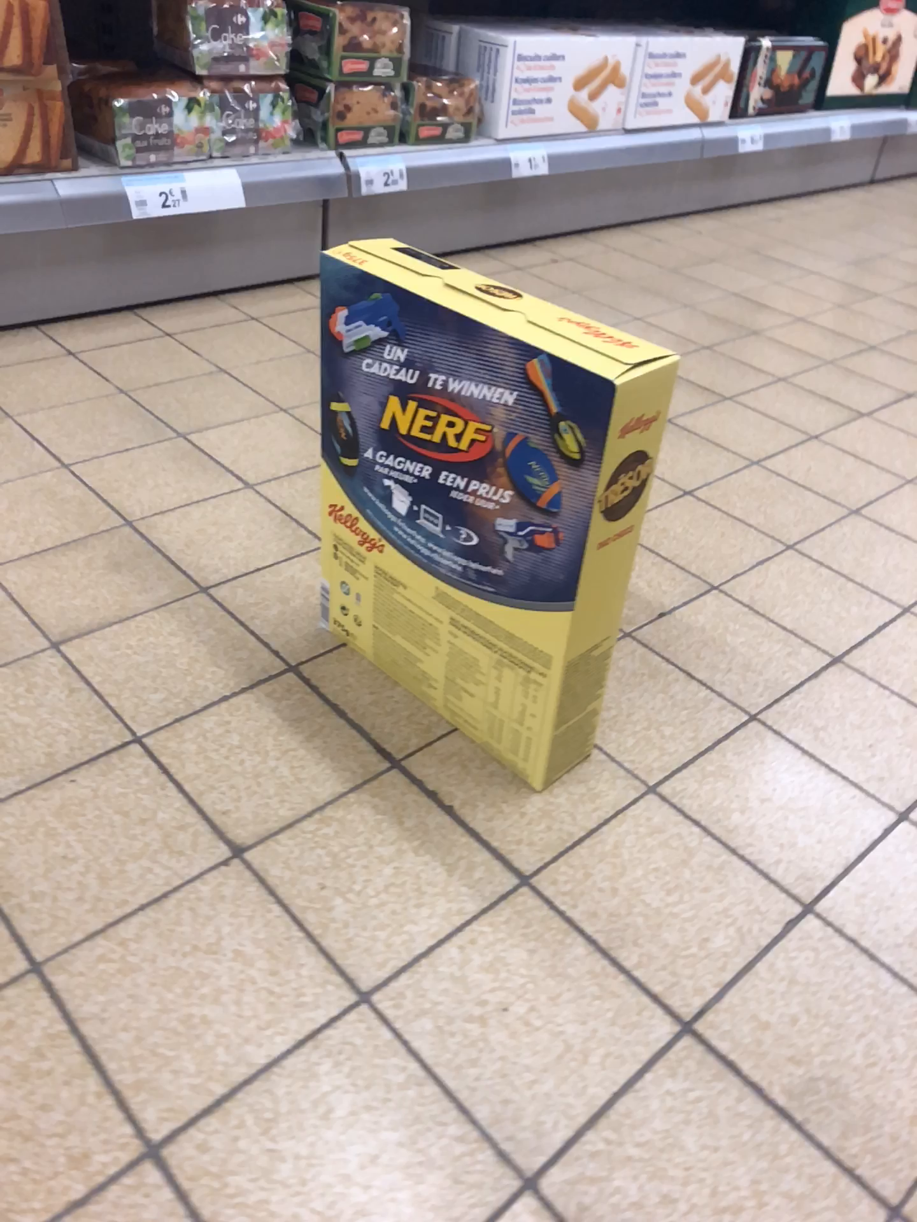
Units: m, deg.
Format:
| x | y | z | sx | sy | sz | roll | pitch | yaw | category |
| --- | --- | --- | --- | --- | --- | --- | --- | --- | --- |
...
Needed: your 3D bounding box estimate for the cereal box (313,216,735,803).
| x | y | z | sx | sy | sz | roll | pitch | yaw | category |
| --- | --- | --- | --- | --- | --- | --- | --- | --- | --- |
| 0.013 | -0.055 | 0.528 | 0.200 | 0.238 | 0.060 | 33 | 42 | 32 | cereal box |
